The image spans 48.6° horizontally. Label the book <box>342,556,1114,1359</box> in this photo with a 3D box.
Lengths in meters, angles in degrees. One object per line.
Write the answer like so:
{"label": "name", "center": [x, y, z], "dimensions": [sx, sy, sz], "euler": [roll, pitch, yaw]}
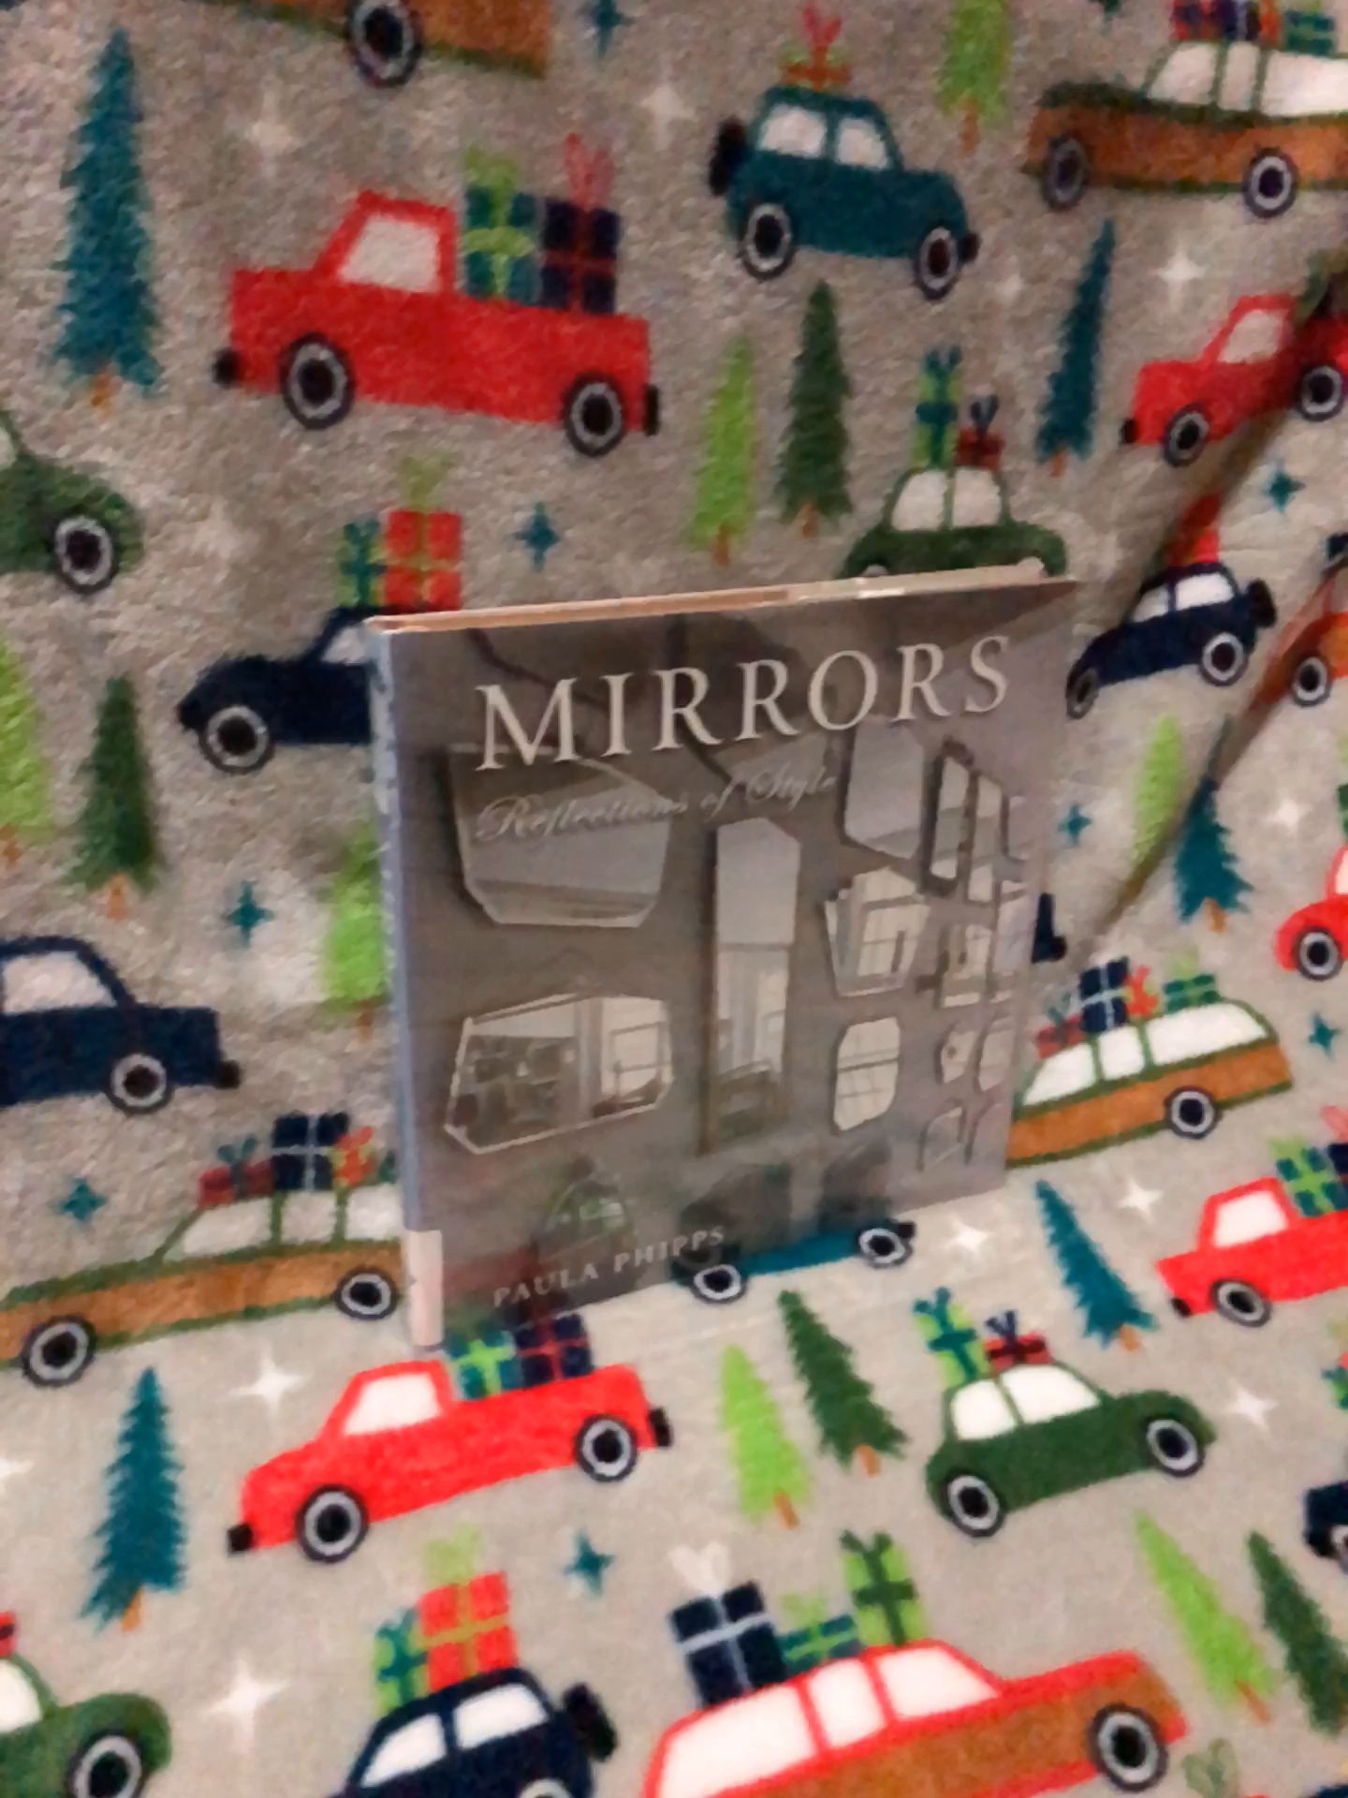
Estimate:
{"label": "book", "center": [0.021, 0.012, 0.444], "dimensions": [0.223, 0.208, 0.030], "euler": [-10, 26, -26]}
